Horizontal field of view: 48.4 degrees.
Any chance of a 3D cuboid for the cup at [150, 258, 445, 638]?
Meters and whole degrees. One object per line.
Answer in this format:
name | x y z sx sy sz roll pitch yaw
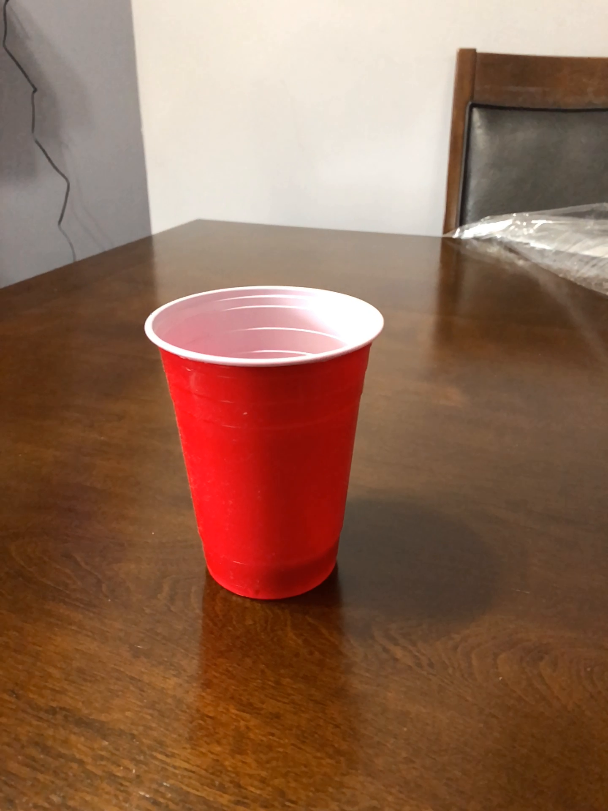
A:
cup | -0.008 0.010 0.285 0.090 0.120 0.090 0 24 0
